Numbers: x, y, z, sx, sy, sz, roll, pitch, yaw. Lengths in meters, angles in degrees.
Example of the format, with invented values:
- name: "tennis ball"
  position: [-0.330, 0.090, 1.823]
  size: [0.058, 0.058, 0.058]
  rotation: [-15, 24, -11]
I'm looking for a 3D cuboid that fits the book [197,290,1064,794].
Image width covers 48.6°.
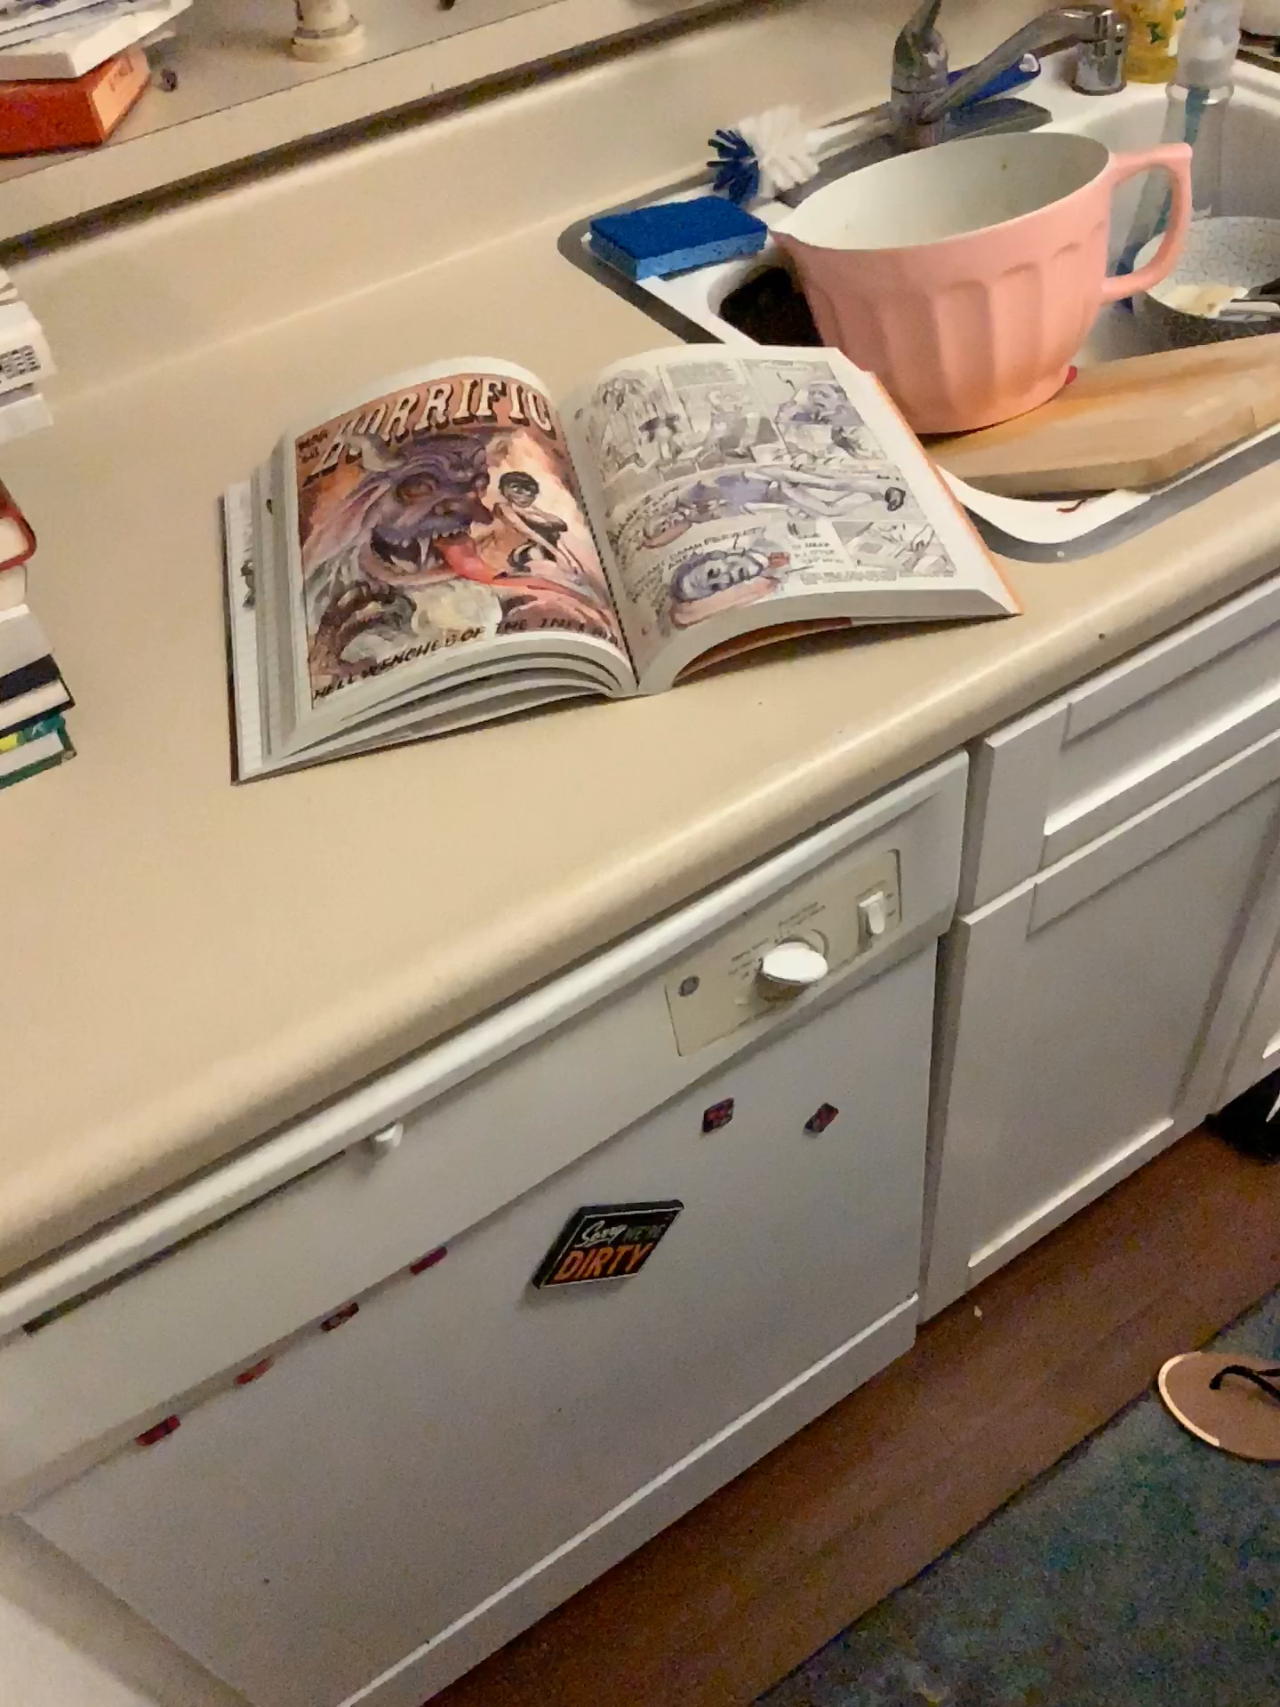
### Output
- name: "book"
  position: [-0.026, -0.192, 0.798]
  size: [0.430, 0.050, 0.280]
  rotation: [-12, 48, -4]
